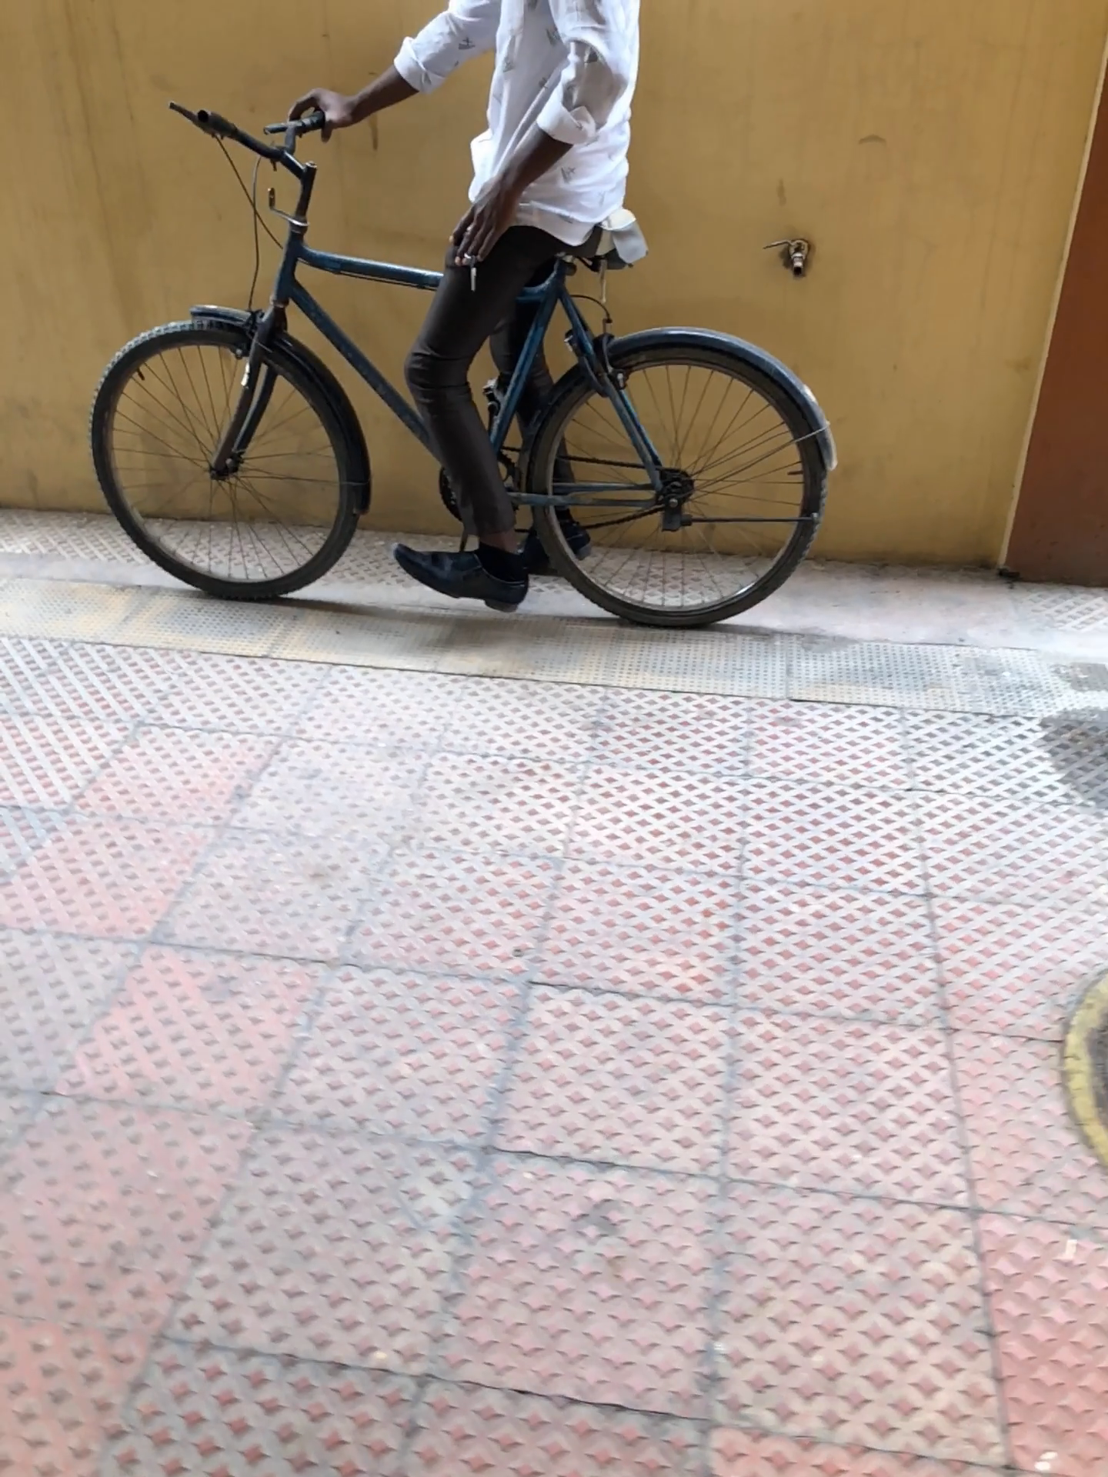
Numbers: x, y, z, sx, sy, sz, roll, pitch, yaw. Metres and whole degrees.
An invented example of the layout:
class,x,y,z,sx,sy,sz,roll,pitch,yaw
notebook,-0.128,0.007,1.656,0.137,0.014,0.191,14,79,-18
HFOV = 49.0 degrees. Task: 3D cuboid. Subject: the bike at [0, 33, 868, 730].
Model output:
class,x,y,z,sx,sy,sz,roll,pitch,yaw
bike,-0.285,-0.707,2.368,1.572,1.023,0.592,7,34,7
